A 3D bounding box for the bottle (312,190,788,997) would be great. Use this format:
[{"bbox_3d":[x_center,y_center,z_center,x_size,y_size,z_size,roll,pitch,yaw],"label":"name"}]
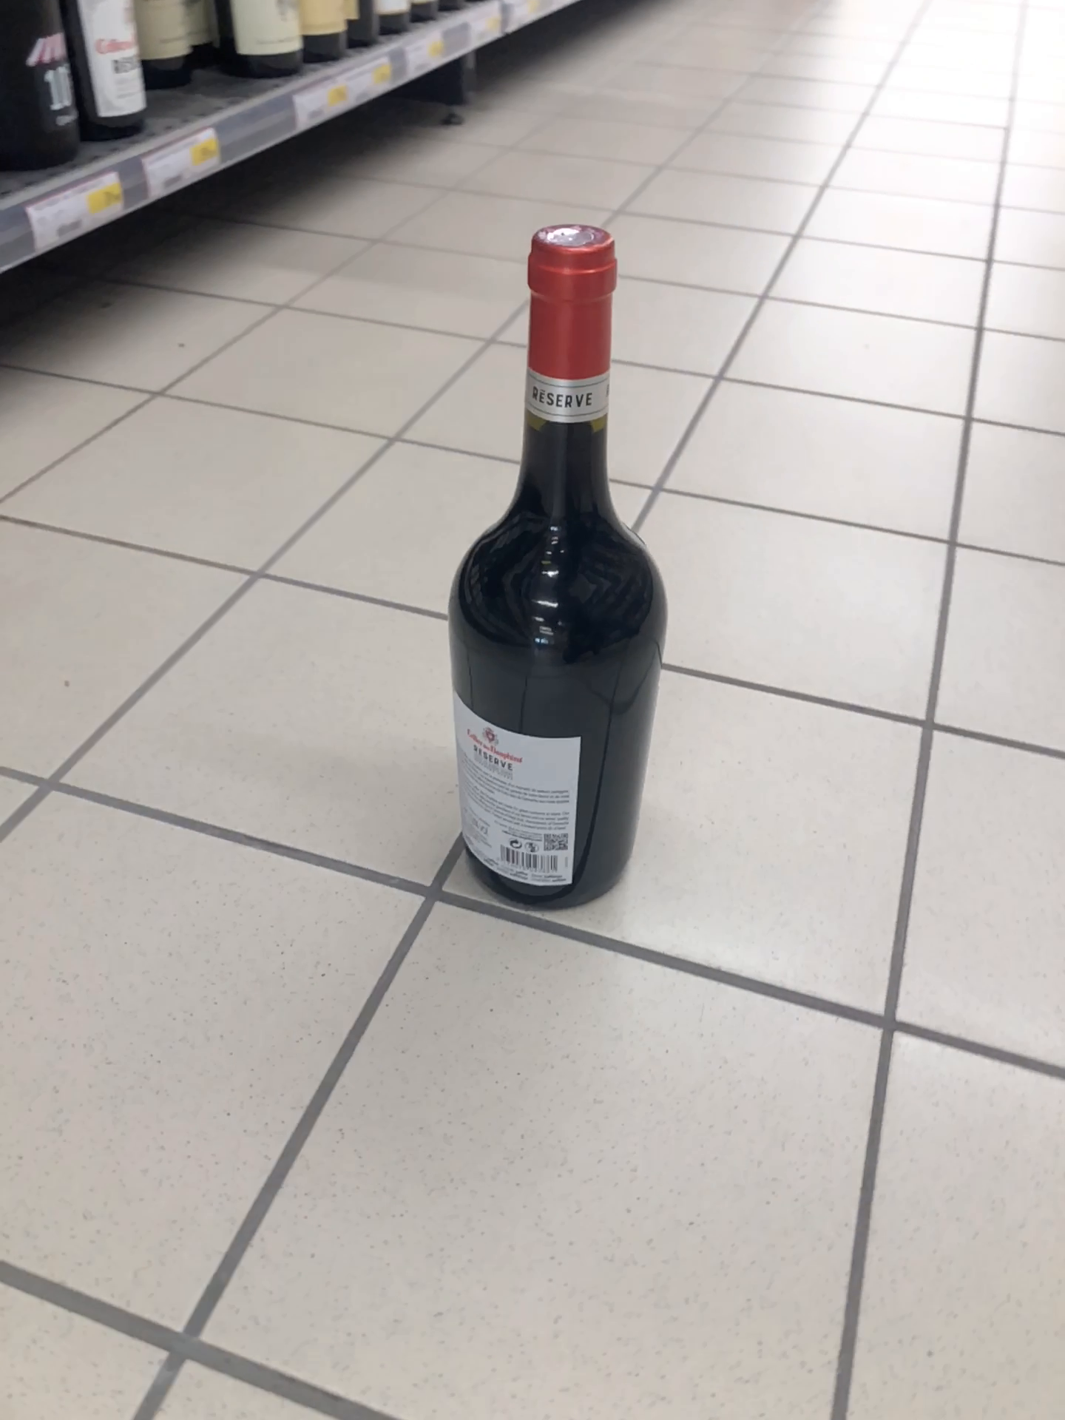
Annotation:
[{"bbox_3d":[0.002,-0.036,0.449,0.110,0.268,0.101,1,38,-1],"label":"bottle"}]
